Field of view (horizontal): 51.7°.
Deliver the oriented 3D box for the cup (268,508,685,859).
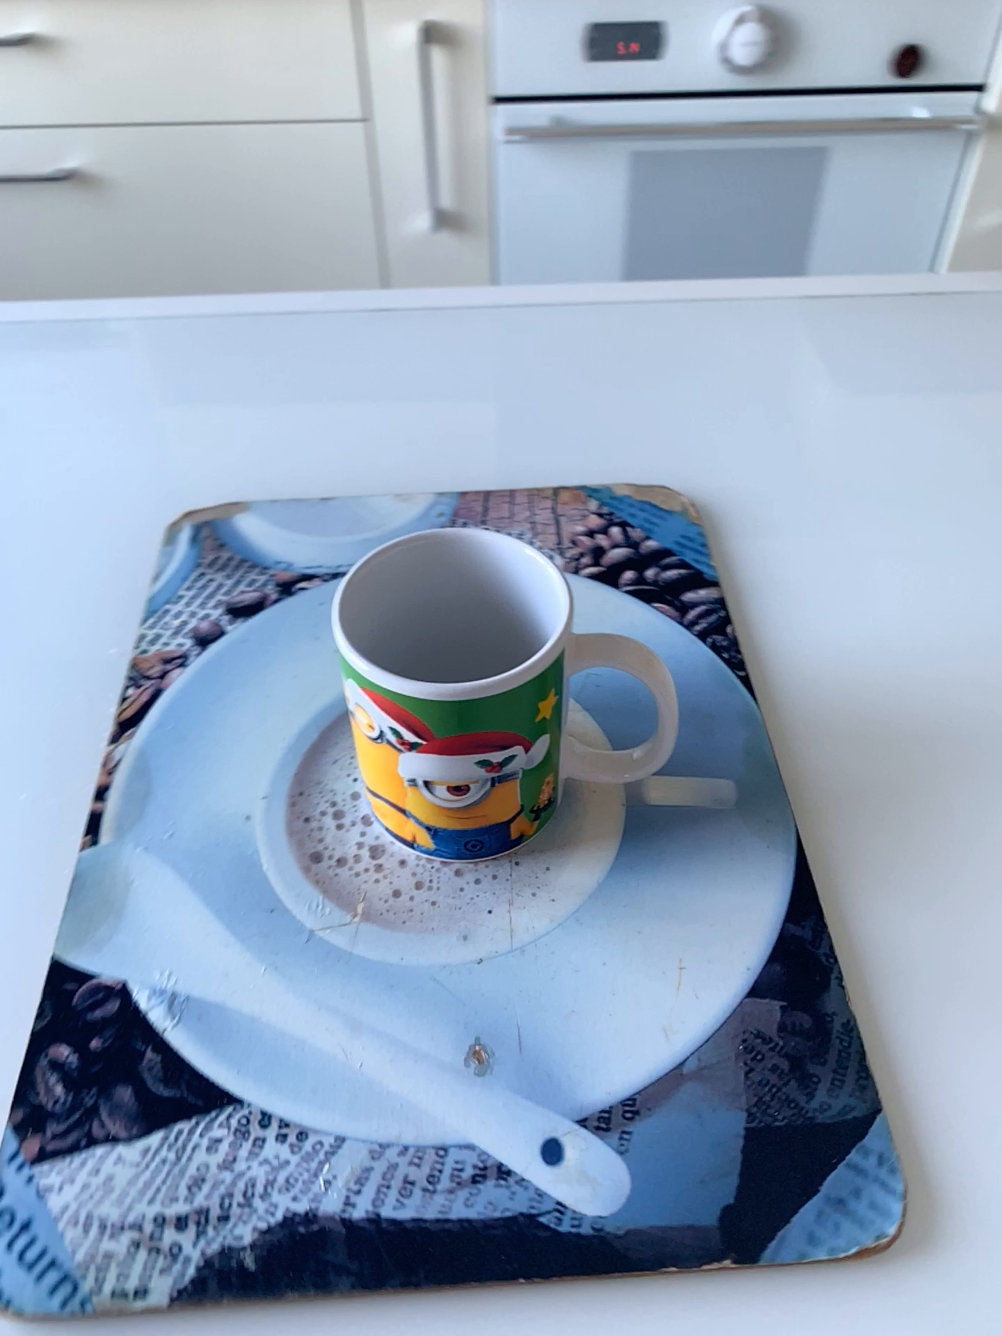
[{"bbox_3d":[-0.003,0.004,0.389,0.133,0.077,0.094,5,46,6],"label":"cup"}]
